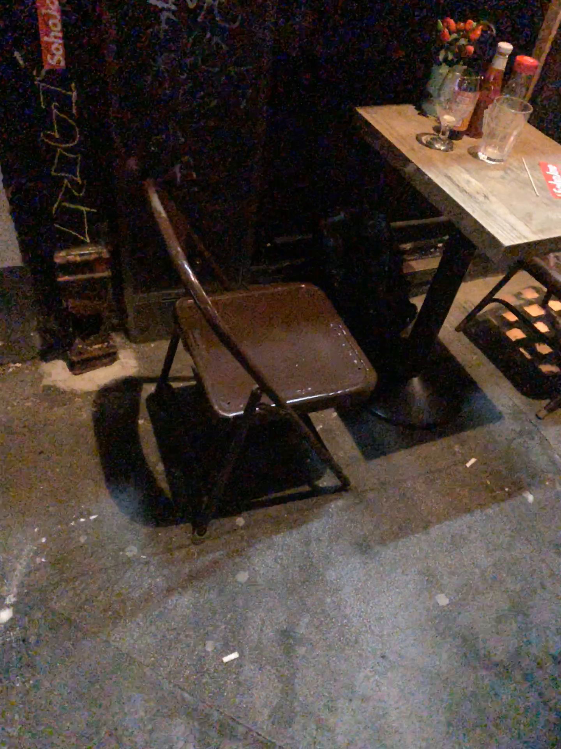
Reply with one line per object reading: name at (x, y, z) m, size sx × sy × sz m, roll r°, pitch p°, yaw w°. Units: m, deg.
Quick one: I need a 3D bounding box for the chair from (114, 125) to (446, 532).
chair at (-0.071, -0.106, 1.306) m, size 0.481 × 0.722 × 0.494 m, roll -10°, pitch 46°, yaw -20°
